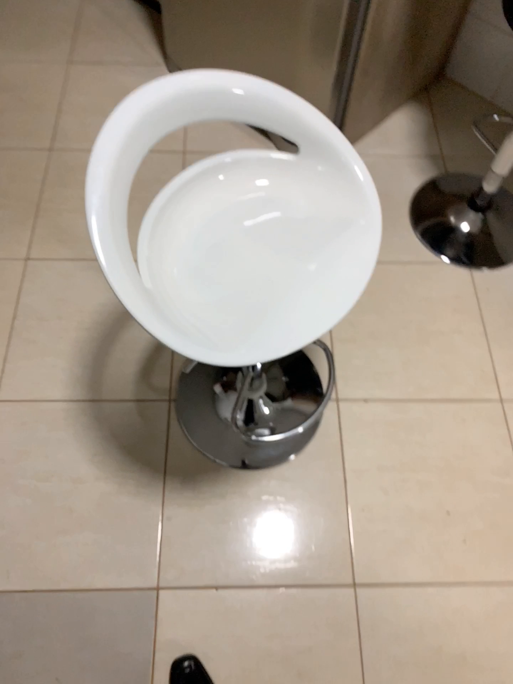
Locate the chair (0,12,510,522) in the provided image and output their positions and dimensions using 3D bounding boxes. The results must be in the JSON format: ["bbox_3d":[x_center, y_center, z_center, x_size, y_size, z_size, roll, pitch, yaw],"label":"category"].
[{"bbox_3d":[-0.011,-0.056,0.998,0.472,0.736,0.451,-41,71,-20],"label":"chair"}]
